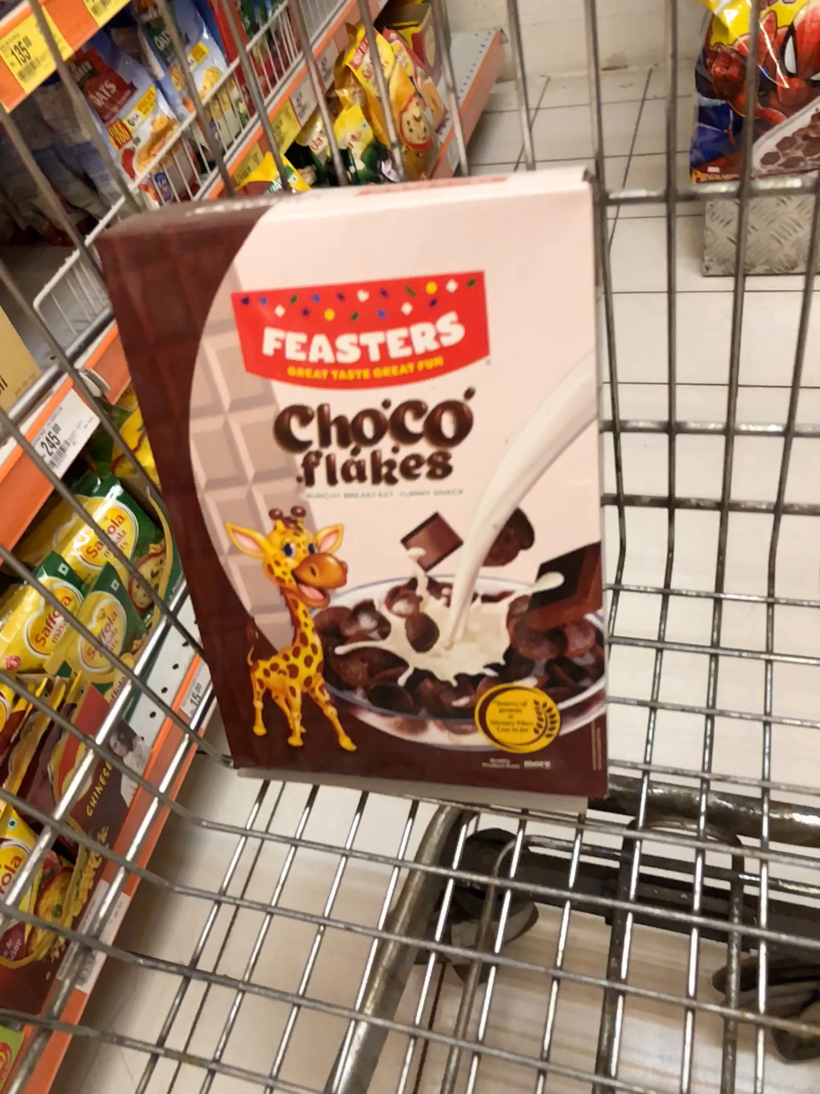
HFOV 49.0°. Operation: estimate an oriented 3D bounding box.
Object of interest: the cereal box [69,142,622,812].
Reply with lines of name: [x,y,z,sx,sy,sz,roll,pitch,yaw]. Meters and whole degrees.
cereal box: [-0.007,-0.017,0.357,0.170,0.239,0.070,-1,27,15]
